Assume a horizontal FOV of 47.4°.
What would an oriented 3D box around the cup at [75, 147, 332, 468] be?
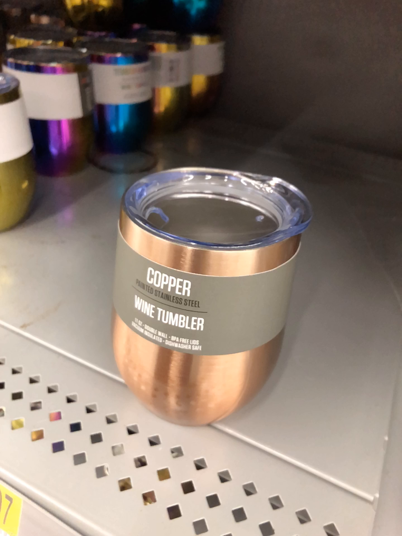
[{"bbox_3d":[0.000,0.018,0.226,0.088,0.121,0.068,17,37,16],"label":"cup"}]
